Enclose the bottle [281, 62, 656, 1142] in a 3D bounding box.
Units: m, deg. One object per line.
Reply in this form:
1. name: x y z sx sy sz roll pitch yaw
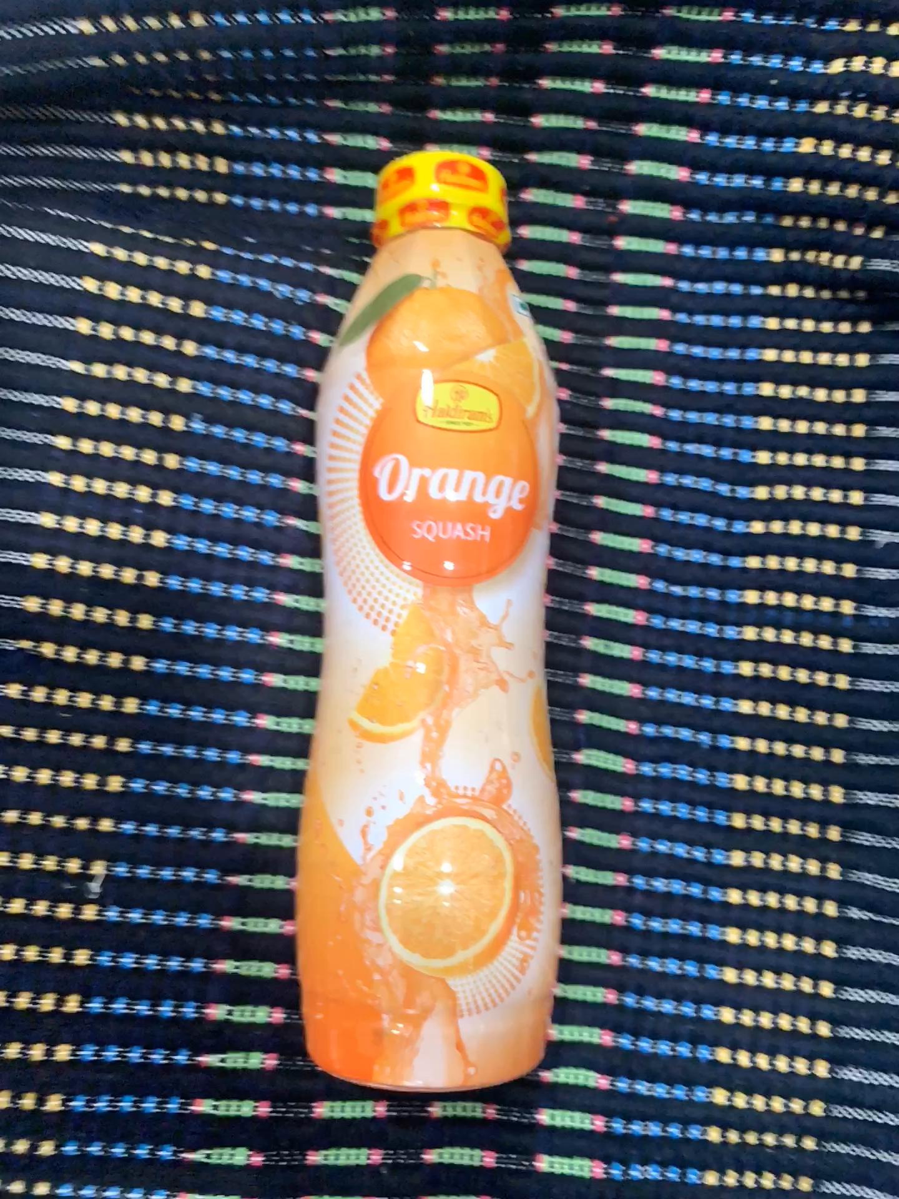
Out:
1. bottle: 0.003 -0.005 0.248 0.080 0.060 0.250 3 79 -10
